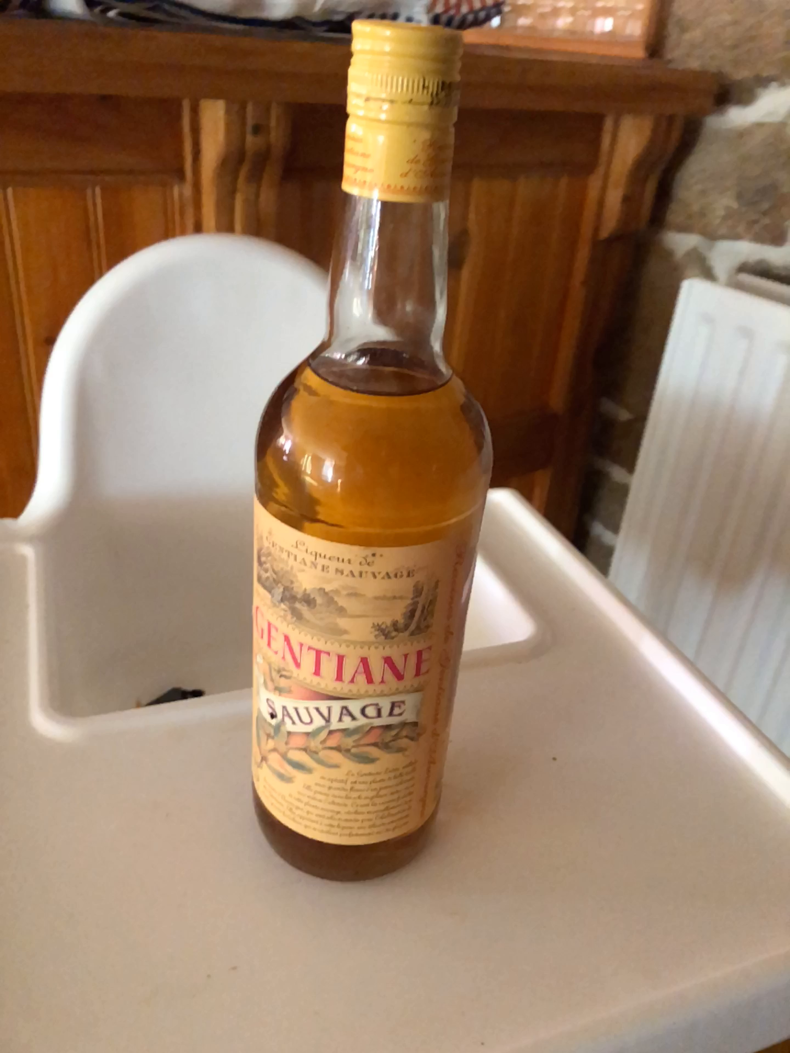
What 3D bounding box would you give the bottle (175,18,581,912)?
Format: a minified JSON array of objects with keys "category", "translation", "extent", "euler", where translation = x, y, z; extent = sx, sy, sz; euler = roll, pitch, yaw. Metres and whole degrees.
[{"category":"bottle","translation":[-0.011,-0.007,0.316],"extent":[0.090,0.298,0.081],"euler":[14,30,16]}]
